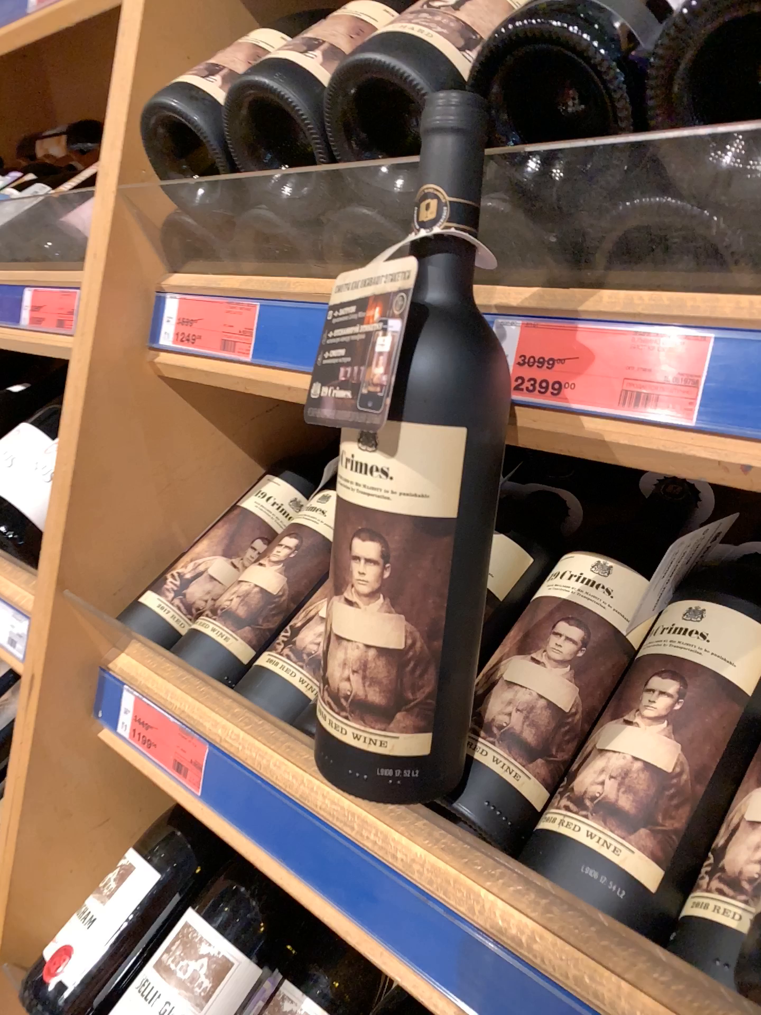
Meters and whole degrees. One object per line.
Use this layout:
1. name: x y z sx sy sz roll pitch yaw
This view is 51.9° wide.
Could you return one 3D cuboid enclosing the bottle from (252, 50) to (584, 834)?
1. bottle: 0.010 -0.022 0.353 0.087 0.300 0.081 5 13 -1
